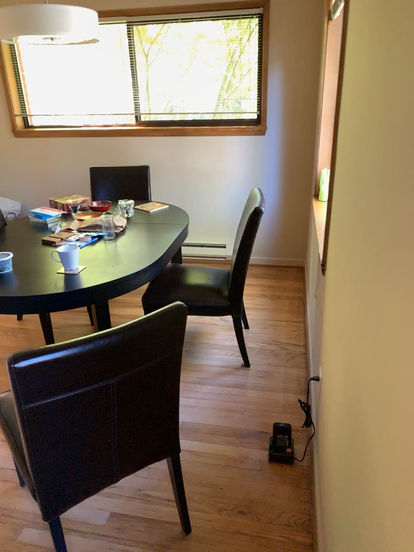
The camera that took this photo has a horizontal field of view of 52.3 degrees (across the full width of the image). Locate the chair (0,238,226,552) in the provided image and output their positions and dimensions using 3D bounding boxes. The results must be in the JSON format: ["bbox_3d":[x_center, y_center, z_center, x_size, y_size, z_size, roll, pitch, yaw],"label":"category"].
[{"bbox_3d":[-0.385,0.531,1.449,0.620,1.084,0.654,-17,28,-31],"label":"chair"}]
